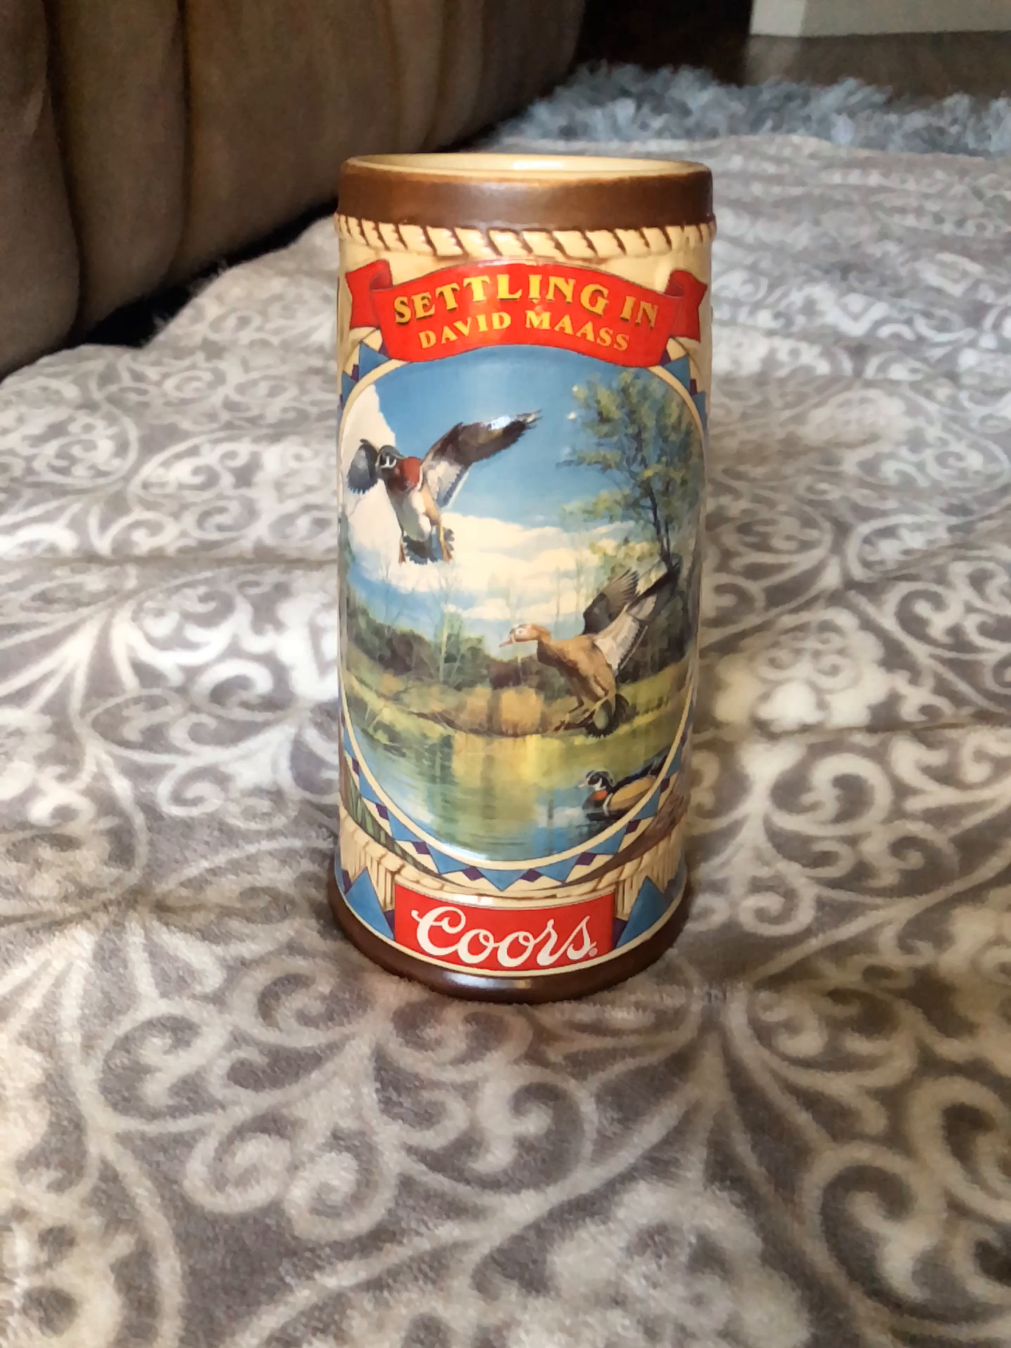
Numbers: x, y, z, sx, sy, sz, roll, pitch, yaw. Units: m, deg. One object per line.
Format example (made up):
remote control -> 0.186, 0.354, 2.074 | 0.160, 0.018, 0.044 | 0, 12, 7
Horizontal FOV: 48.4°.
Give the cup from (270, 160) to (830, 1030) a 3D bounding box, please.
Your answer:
cup -> 0.001, -0.033, 0.301 | 0.098, 0.188, 0.145 | -2, 25, -6
